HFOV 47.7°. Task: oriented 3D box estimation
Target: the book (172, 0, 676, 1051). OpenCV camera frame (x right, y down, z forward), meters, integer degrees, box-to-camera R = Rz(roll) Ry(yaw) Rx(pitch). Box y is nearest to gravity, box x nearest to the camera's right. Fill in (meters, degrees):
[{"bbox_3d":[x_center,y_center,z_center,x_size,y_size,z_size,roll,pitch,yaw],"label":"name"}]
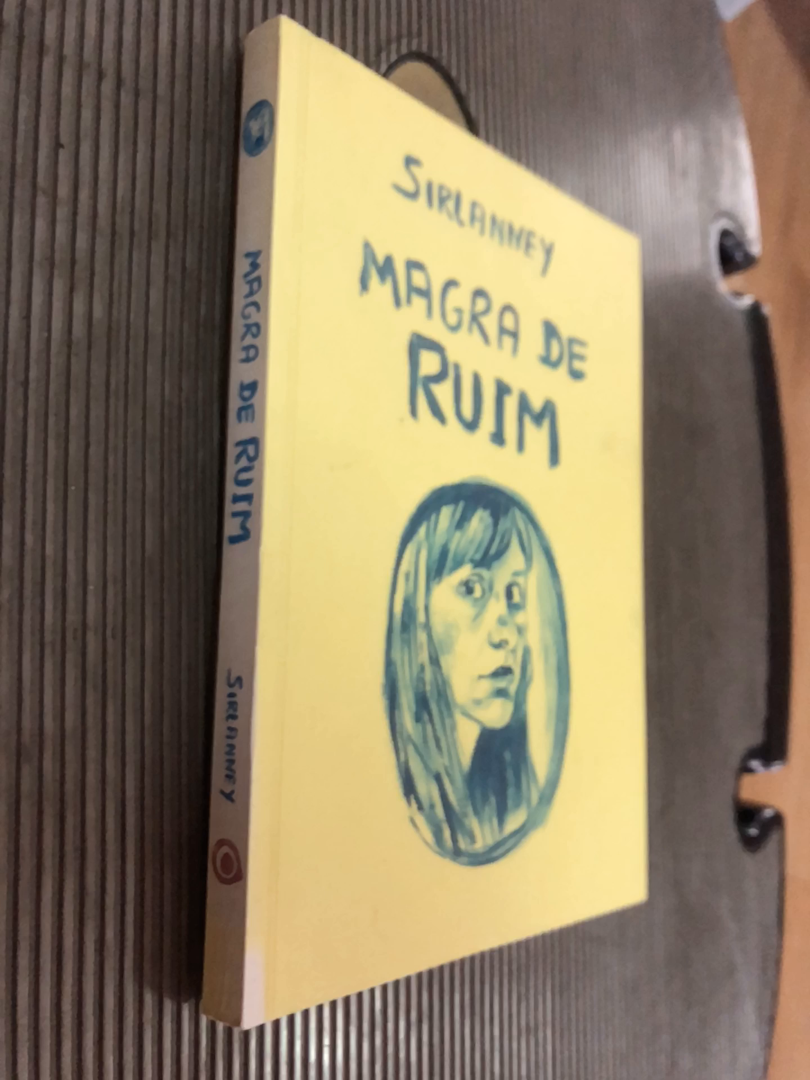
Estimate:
[{"bbox_3d":[0.021,-0.007,0.231,0.151,0.020,0.210,9,80,-44],"label":"book"}]
